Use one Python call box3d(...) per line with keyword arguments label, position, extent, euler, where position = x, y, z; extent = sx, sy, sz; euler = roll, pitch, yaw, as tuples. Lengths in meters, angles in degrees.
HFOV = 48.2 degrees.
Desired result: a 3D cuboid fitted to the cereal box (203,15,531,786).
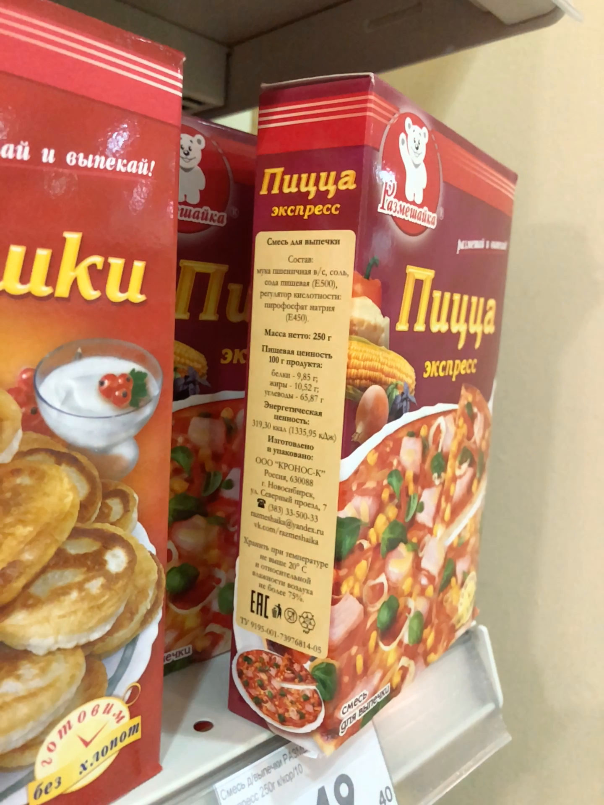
box3d(label="cereal box", position=(0.032, -0.002, 0.234), extent=(0.040, 0.190, 0.140), euler=(6, 7, 34))
